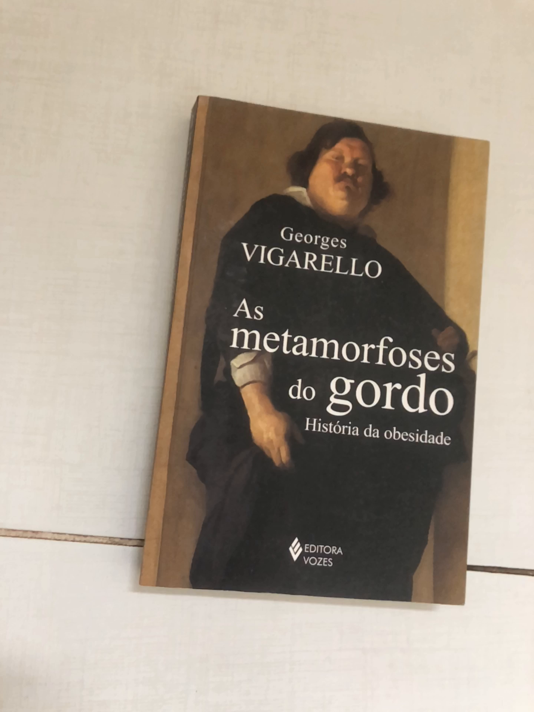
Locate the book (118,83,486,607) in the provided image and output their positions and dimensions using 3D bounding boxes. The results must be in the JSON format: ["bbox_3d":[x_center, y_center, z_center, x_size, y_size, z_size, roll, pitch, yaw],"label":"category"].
[{"bbox_3d":[0.019,-0.005,0.257,0.137,0.023,0.204,6,83,-6],"label":"book"}]
